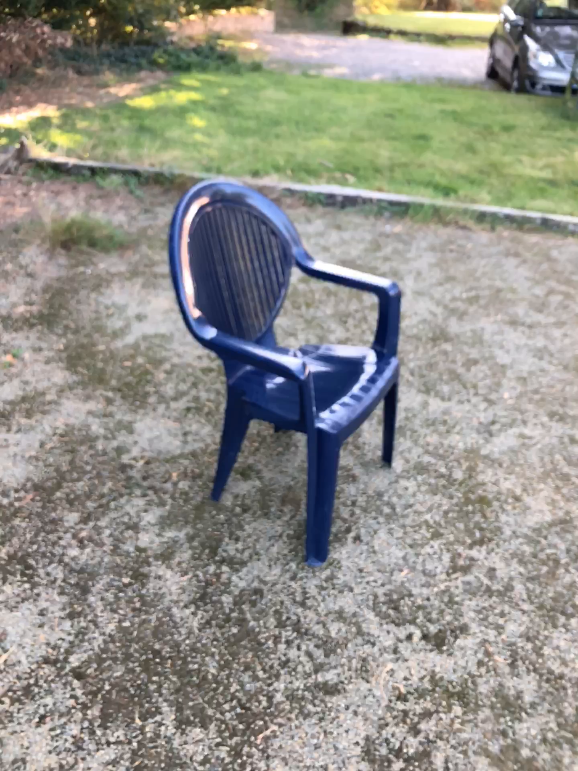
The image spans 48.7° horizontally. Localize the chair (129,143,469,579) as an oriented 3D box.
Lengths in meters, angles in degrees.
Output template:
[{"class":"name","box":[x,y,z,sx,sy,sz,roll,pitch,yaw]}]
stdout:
[{"class":"chair","box":[0.033,-0.096,1.695,0.570,0.854,0.594,19,37,22]}]
